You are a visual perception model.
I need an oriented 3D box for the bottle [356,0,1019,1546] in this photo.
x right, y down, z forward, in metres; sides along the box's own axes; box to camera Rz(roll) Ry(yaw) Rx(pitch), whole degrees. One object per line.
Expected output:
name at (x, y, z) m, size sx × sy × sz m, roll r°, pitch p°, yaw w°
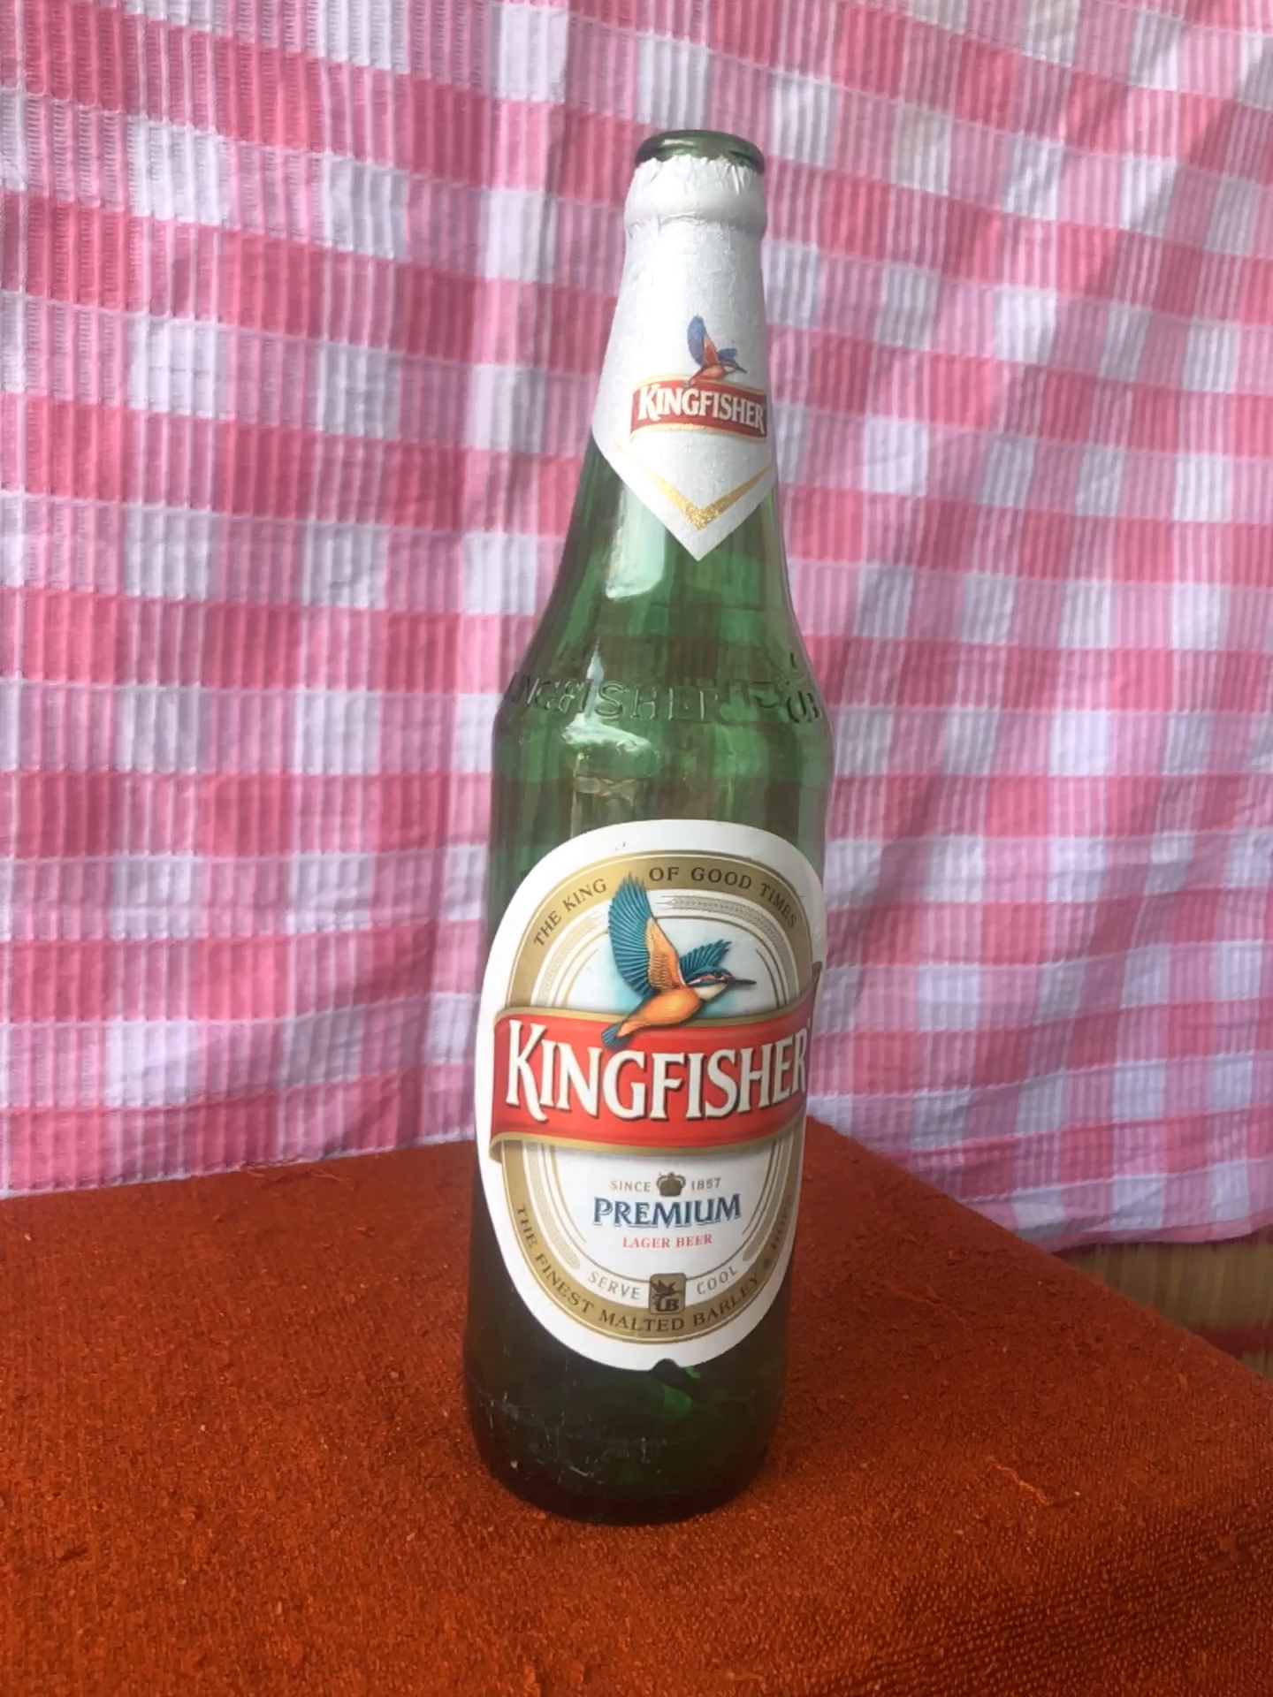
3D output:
bottle at (-0.001, -0.008, 0.302) m, size 0.090 × 0.289 × 0.080 m, roll 5°, pitch 10°, yaw -10°
